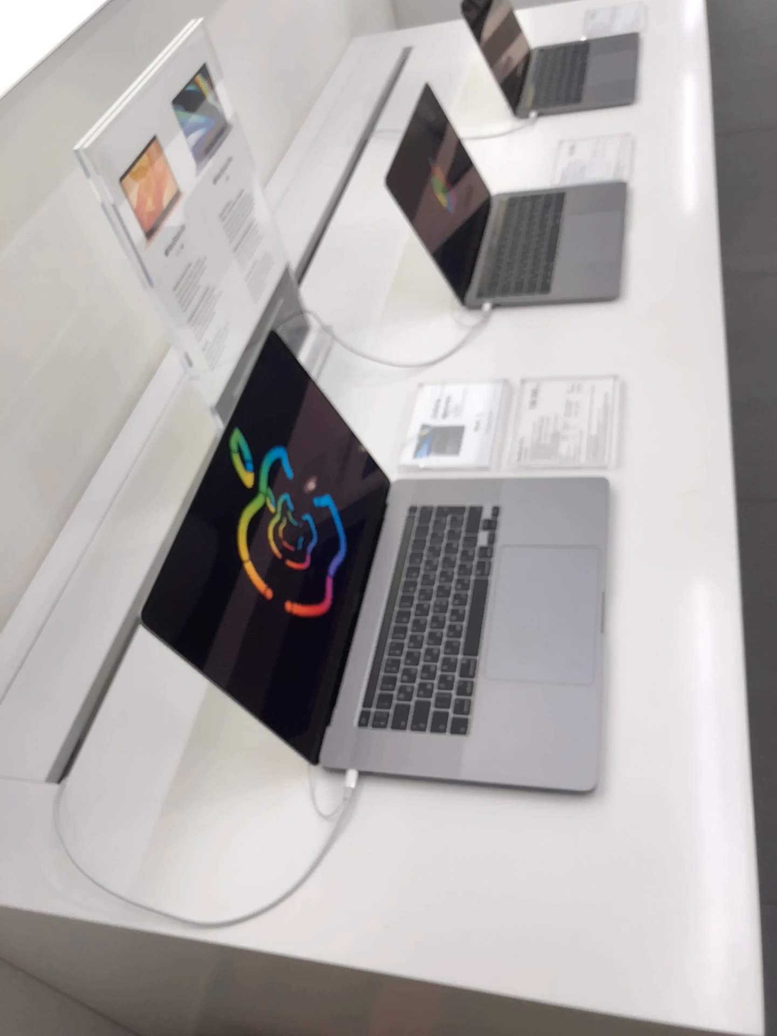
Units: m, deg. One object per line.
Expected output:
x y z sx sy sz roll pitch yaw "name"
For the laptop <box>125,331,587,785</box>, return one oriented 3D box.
0.008 0.024 0.775 0.309 0.209 0.329 0 48 16 "laptop"
